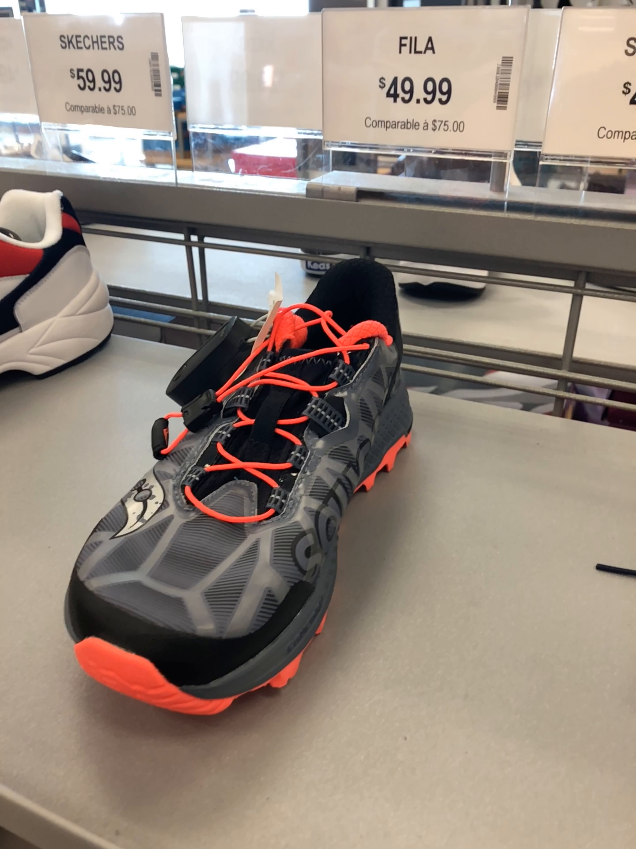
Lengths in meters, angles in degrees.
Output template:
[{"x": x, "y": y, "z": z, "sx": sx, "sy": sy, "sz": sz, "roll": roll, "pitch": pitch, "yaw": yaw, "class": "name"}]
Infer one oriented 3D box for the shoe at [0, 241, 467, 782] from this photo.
[{"x": -0.015, "y": 0.001, "z": 0.357, "sx": 0.110, "sy": 0.109, "sz": 0.292, "roll": 11, "pitch": 31, "yaw": 20, "class": "shoe"}]
